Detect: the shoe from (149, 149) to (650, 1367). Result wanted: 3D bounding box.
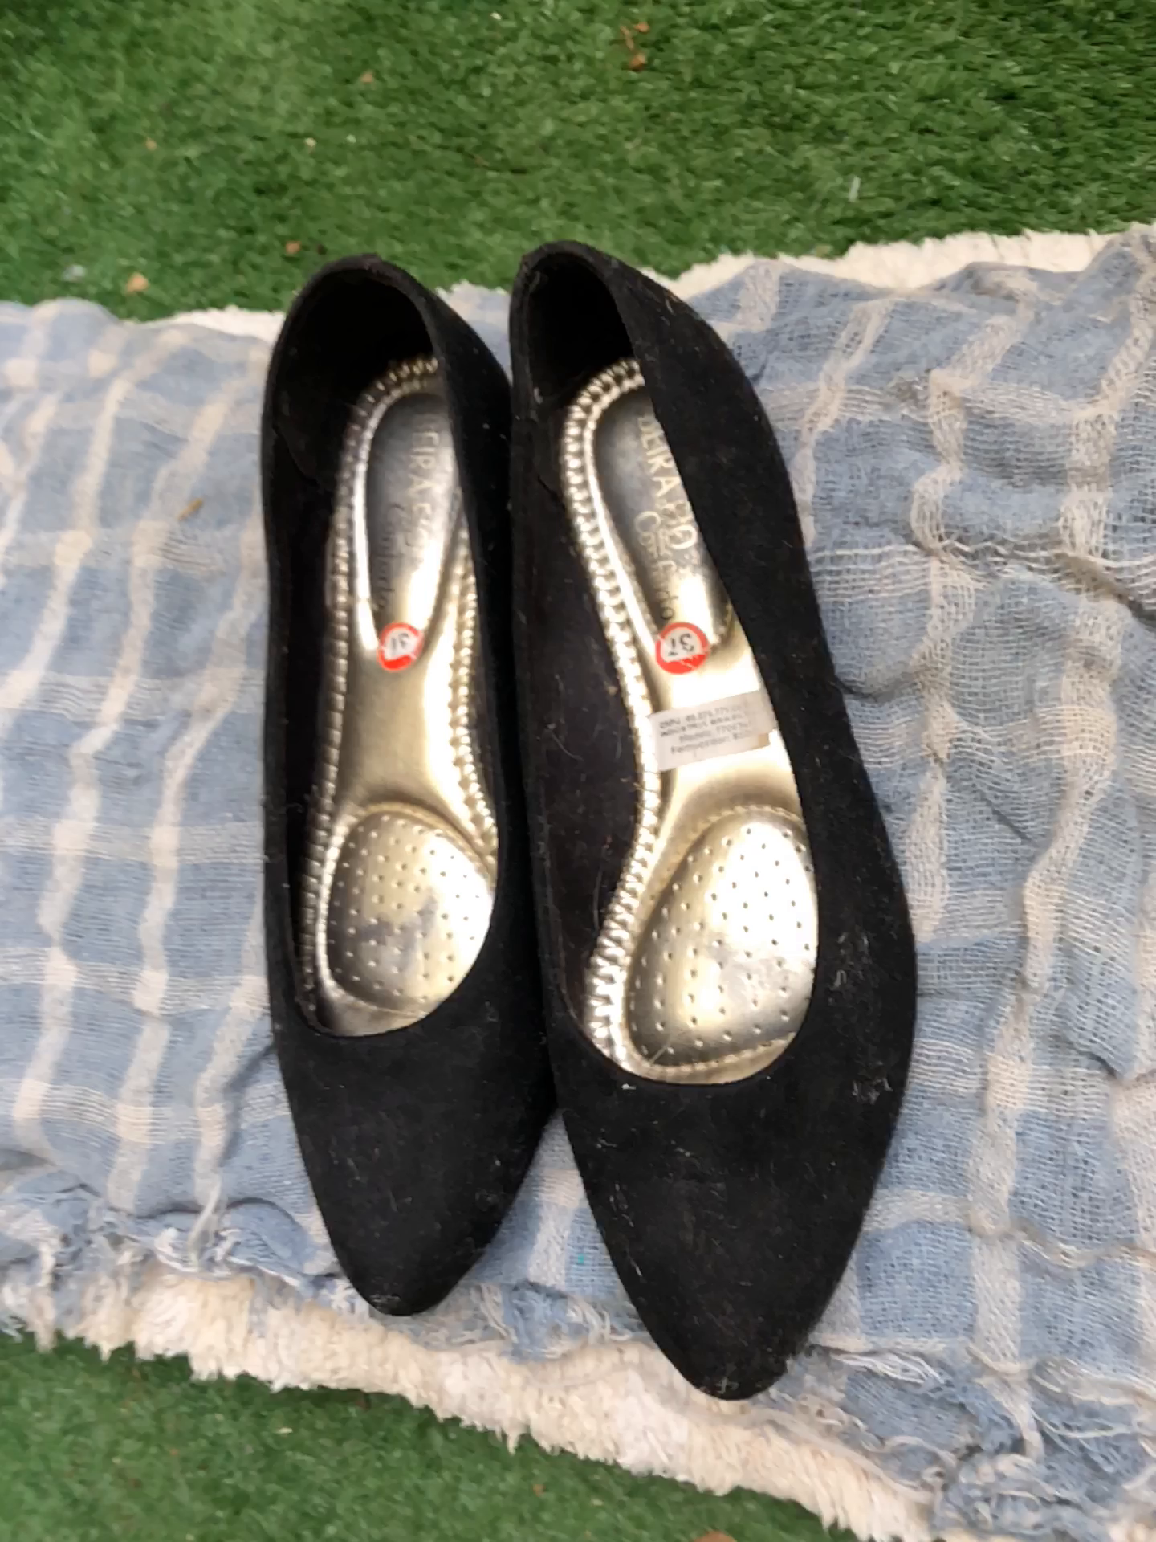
[{"bbox_3d":[-0.042,-0.004,0.331,0.090,0.080,0.270,-6,78,20],"label":"shoe"}]

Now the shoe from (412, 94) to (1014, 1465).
[{"bbox_3d":[0.029,0.000,0.298,0.090,0.080,0.270,-10,76,19],"label":"shoe"}]
